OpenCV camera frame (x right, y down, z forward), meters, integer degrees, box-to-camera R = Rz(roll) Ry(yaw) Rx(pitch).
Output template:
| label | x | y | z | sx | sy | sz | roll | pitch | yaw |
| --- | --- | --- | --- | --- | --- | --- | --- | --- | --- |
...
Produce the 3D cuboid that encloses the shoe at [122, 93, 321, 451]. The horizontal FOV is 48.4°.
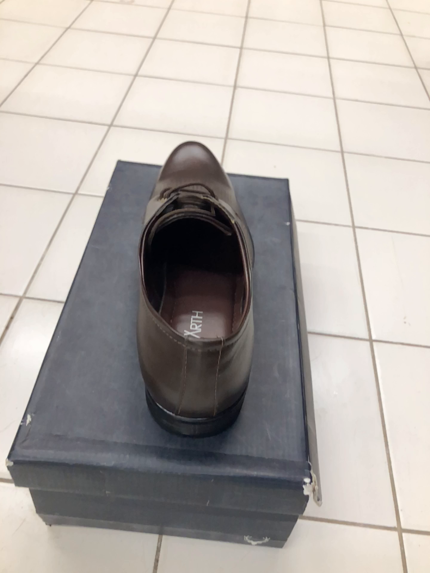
| label | x | y | z | sx | sy | sz | roll | pitch | yaw |
| --- | --- | --- | --- | --- | --- | --- | --- | --- | --- |
| shoe | -0.005 | -0.032 | 0.386 | 0.104 | 0.109 | 0.292 | 2 | 48 | -5 |
